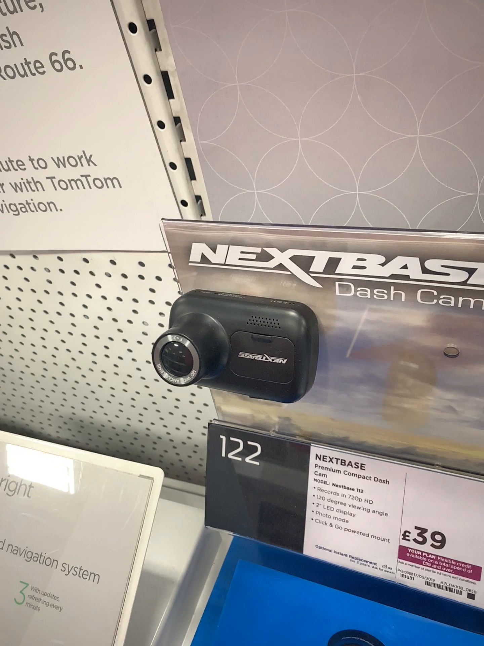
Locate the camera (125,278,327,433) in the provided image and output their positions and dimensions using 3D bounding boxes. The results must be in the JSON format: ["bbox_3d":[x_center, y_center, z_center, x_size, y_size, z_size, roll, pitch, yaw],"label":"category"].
[{"bbox_3d":[-0.007,0.010,0.251,0.080,0.050,0.060,9,16,25],"label":"camera"}]
